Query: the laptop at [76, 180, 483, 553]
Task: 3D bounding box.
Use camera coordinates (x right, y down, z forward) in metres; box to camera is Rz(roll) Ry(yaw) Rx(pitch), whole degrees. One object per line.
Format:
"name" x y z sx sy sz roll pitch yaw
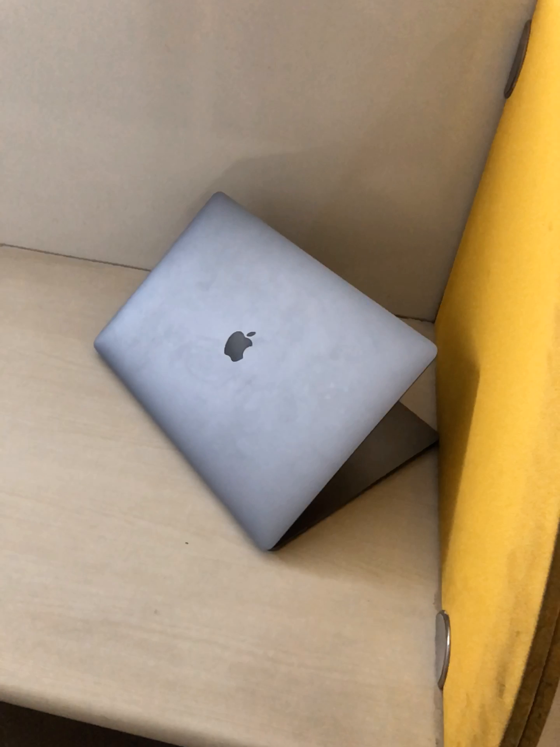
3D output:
"laptop" -0.018 -0.037 0.657 0.236 0.151 0.346 -26 52 -30
